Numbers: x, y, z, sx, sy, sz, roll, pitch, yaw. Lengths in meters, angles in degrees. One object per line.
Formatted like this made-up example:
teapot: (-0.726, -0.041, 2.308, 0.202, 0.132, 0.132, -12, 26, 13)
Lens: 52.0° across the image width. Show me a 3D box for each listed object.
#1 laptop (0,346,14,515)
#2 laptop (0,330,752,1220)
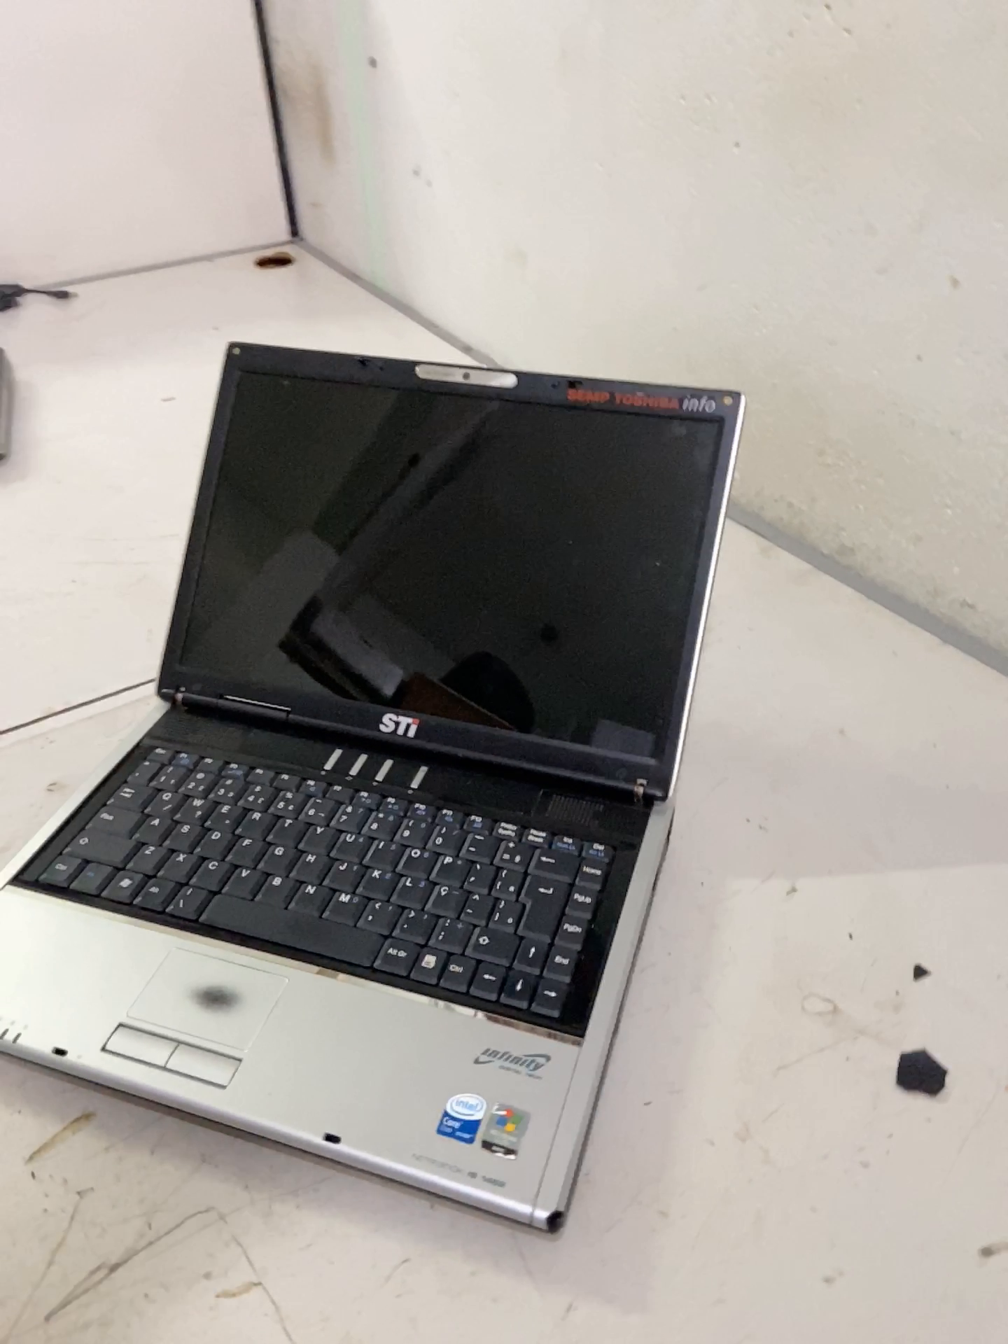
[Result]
laptop: (-0.653, -0.238, 0.986, 0.337, 0.018, 0.200, -11, 44, -9)
laptop: (-0.073, -0.006, 0.529, 0.325, 0.167, 0.388, 10, 41, 16)
